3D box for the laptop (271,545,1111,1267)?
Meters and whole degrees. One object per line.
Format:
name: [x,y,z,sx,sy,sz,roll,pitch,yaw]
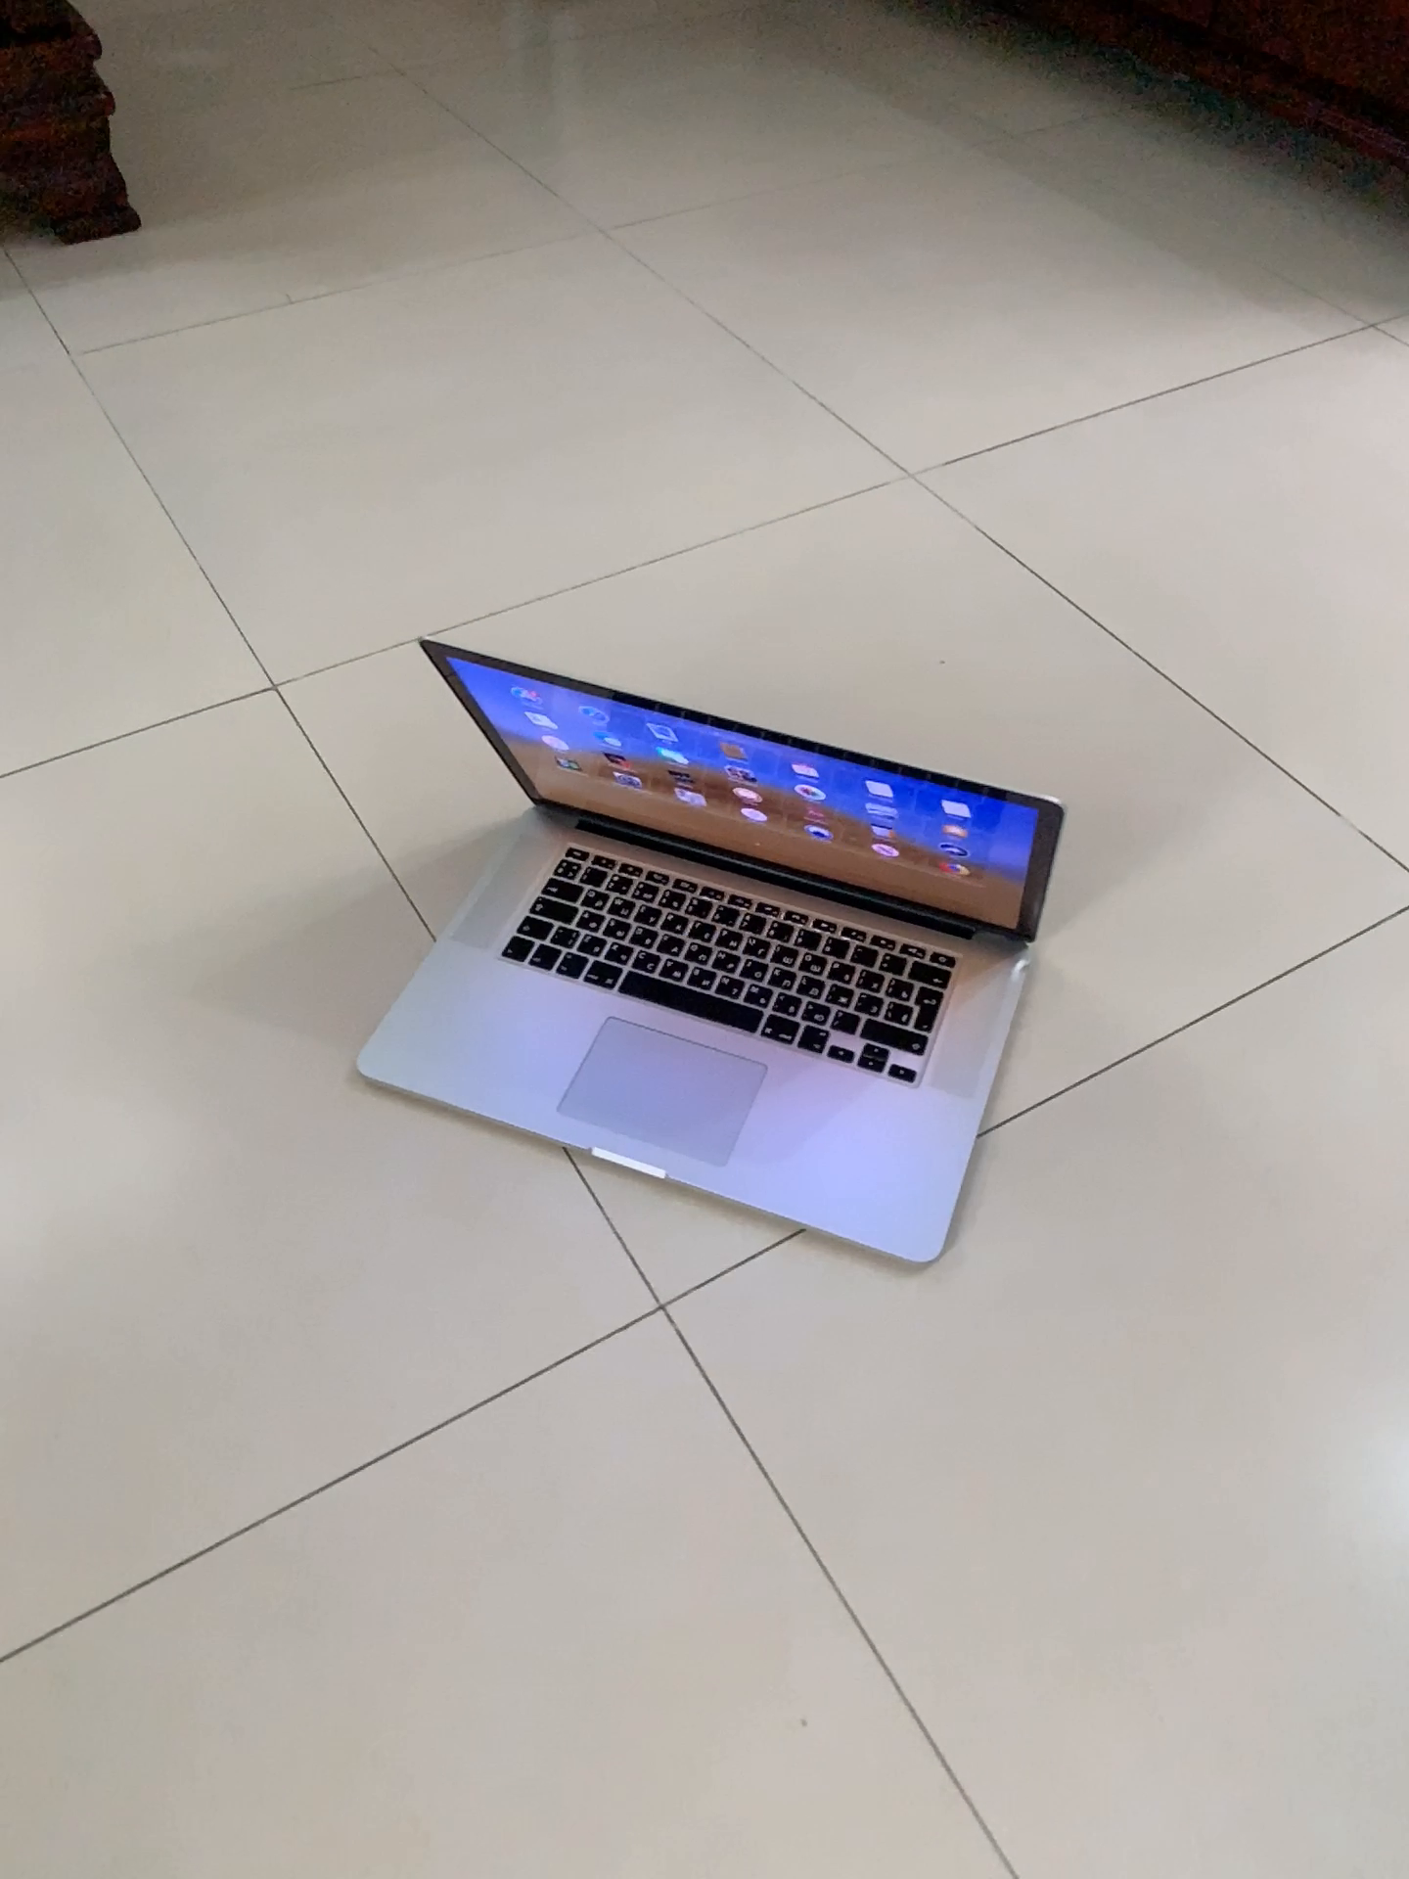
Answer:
laptop: [0.001,-0.028,0.807,0.359,0.207,0.242,17,50,13]
